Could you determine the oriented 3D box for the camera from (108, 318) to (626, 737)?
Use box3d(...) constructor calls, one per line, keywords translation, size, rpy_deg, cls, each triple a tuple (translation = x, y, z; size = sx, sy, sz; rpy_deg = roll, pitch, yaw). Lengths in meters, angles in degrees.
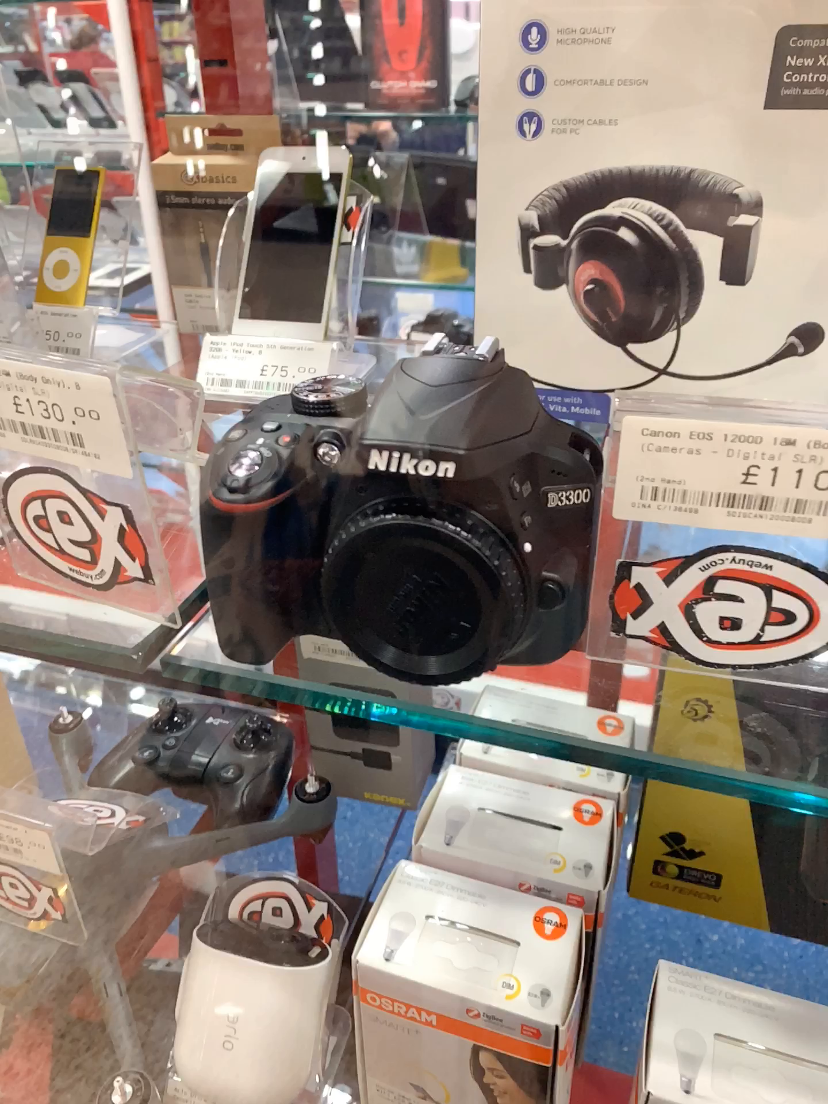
box3d(translation=(-0.003, -0.018, 0.274), size=(0.130, 0.079, 0.111), rpy_deg=(6, 31, 11), cls="camera")
